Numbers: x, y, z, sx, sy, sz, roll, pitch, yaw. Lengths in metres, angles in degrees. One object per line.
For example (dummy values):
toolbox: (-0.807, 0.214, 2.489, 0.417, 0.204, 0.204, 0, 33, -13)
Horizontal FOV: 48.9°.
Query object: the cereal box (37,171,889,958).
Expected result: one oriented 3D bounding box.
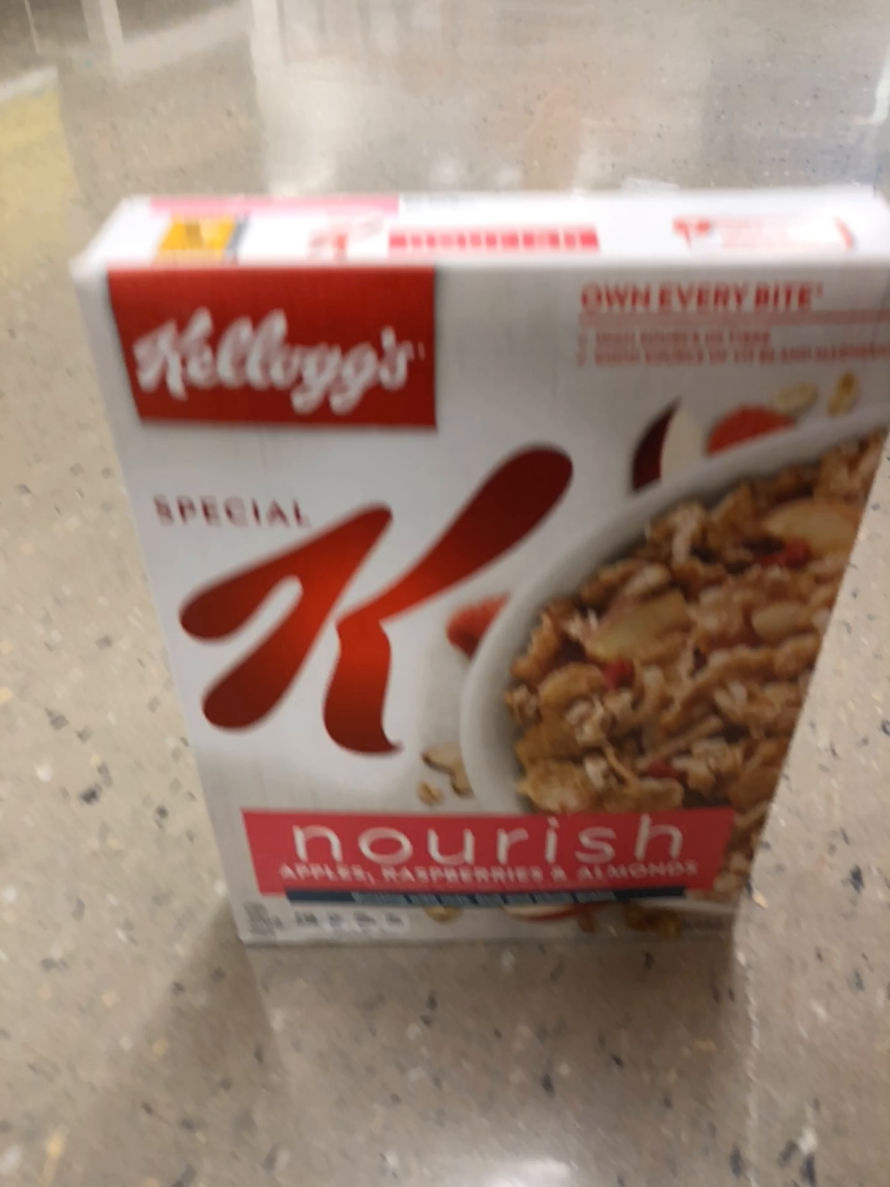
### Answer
cereal box: (0.019, 0.021, 0.323, 0.210, 0.289, 0.050, -1, 41, 0)
